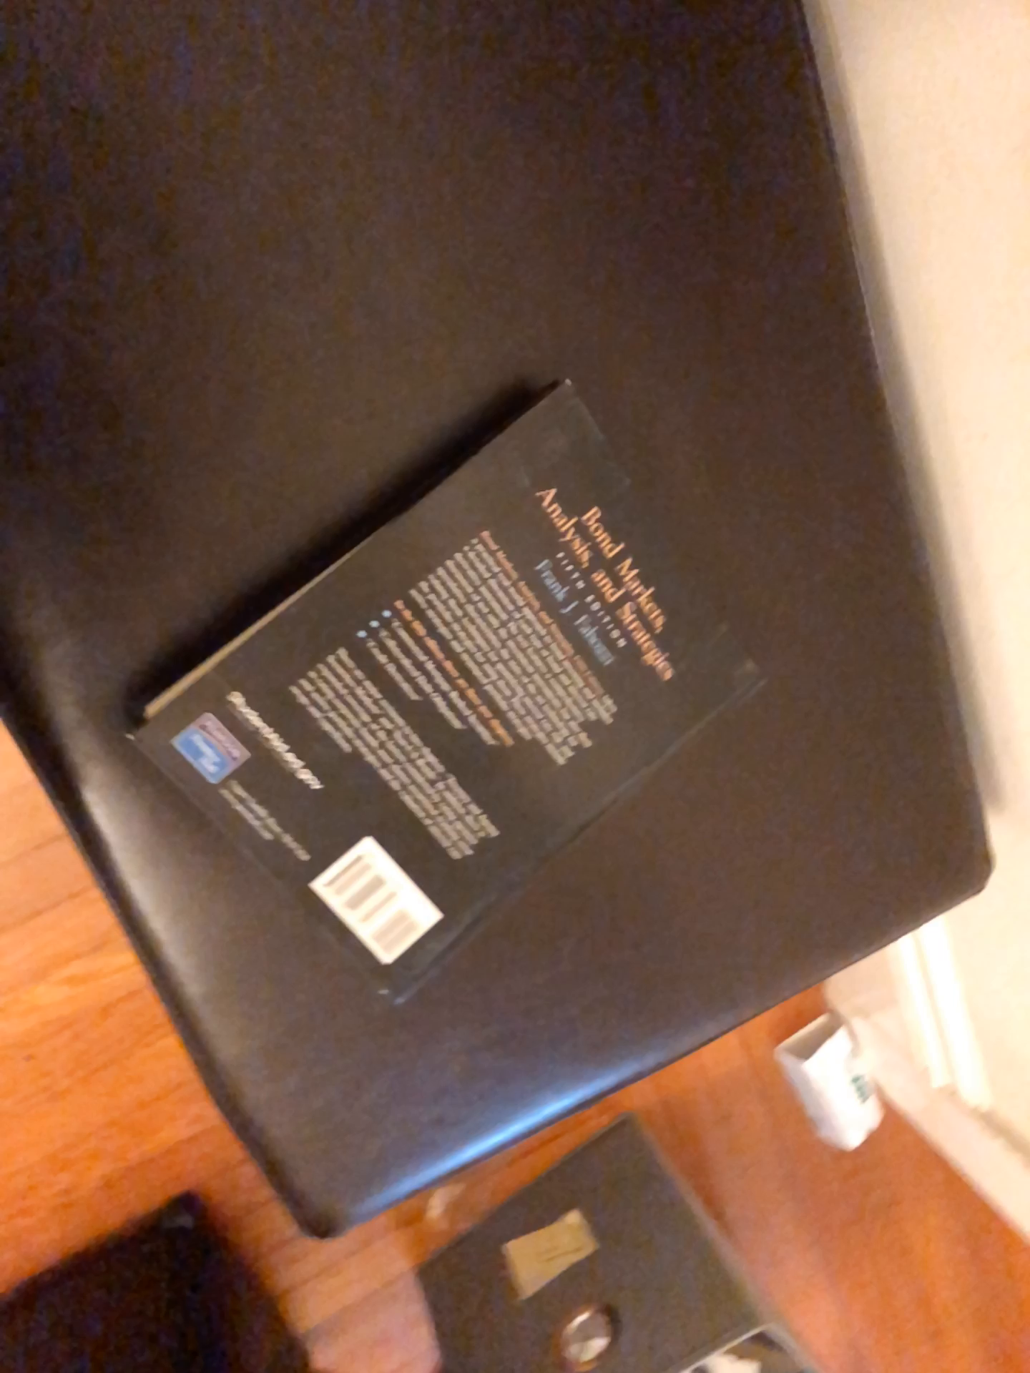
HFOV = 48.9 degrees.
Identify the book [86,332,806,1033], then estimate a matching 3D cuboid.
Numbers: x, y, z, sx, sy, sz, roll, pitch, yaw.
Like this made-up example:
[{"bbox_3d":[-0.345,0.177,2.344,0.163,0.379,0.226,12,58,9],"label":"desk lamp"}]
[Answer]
[{"bbox_3d":[-0.021,0.002,0.521,0.260,0.040,0.200,-39,113,-4],"label":"book"}]
